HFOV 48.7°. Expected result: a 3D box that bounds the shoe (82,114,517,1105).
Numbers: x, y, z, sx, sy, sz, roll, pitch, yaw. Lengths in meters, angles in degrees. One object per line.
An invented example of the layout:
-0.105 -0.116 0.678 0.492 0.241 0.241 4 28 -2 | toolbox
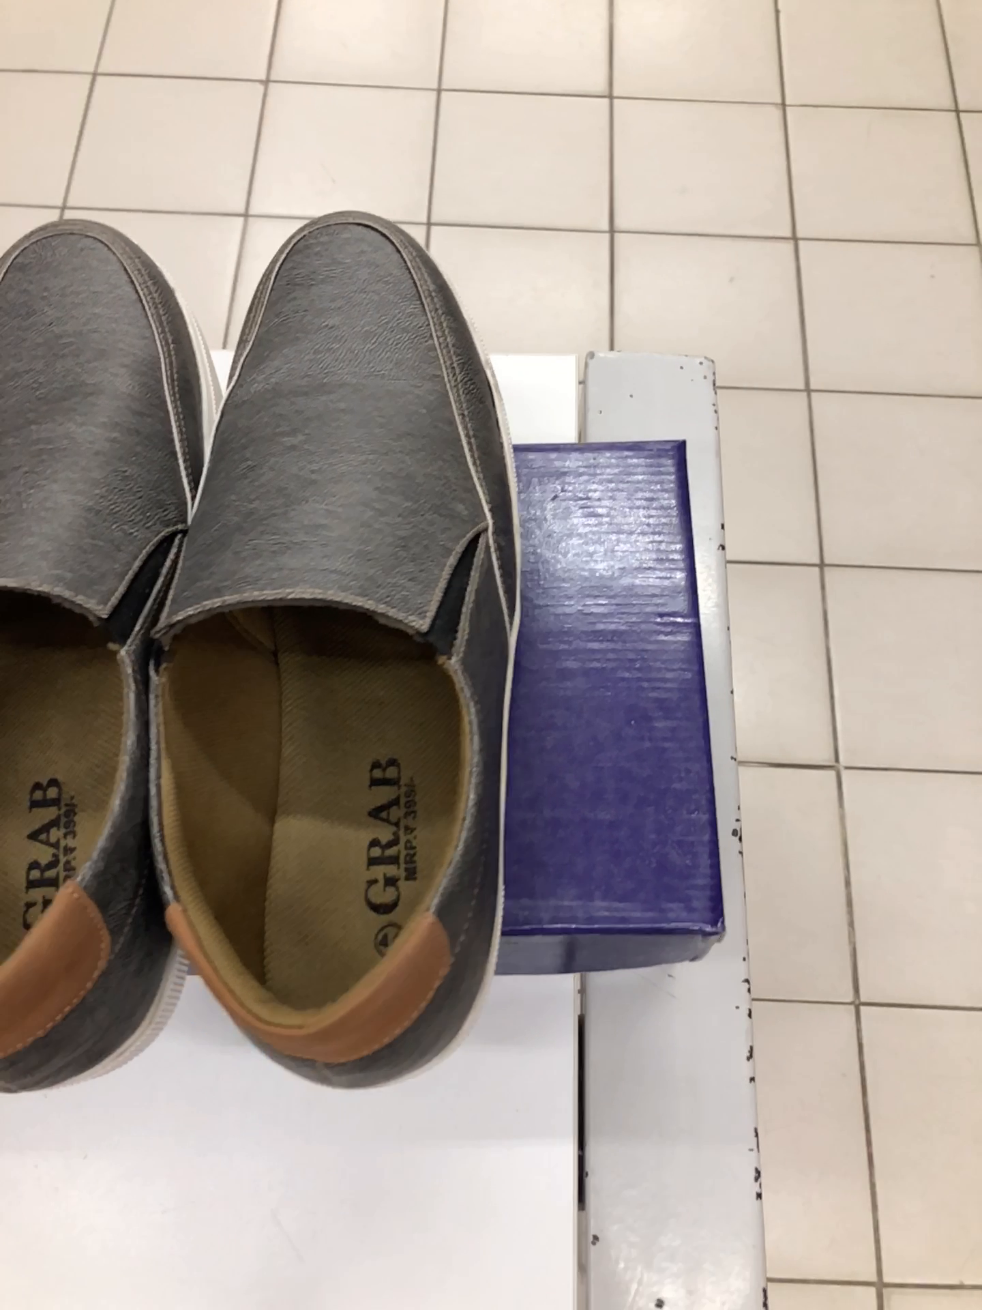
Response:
-0.043 -0.018 0.367 0.100 0.120 0.311 1 68 1 | shoe

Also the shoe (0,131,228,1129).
-0.144 -0.012 0.322 0.100 0.100 0.271 -4 68 -1 | shoe
